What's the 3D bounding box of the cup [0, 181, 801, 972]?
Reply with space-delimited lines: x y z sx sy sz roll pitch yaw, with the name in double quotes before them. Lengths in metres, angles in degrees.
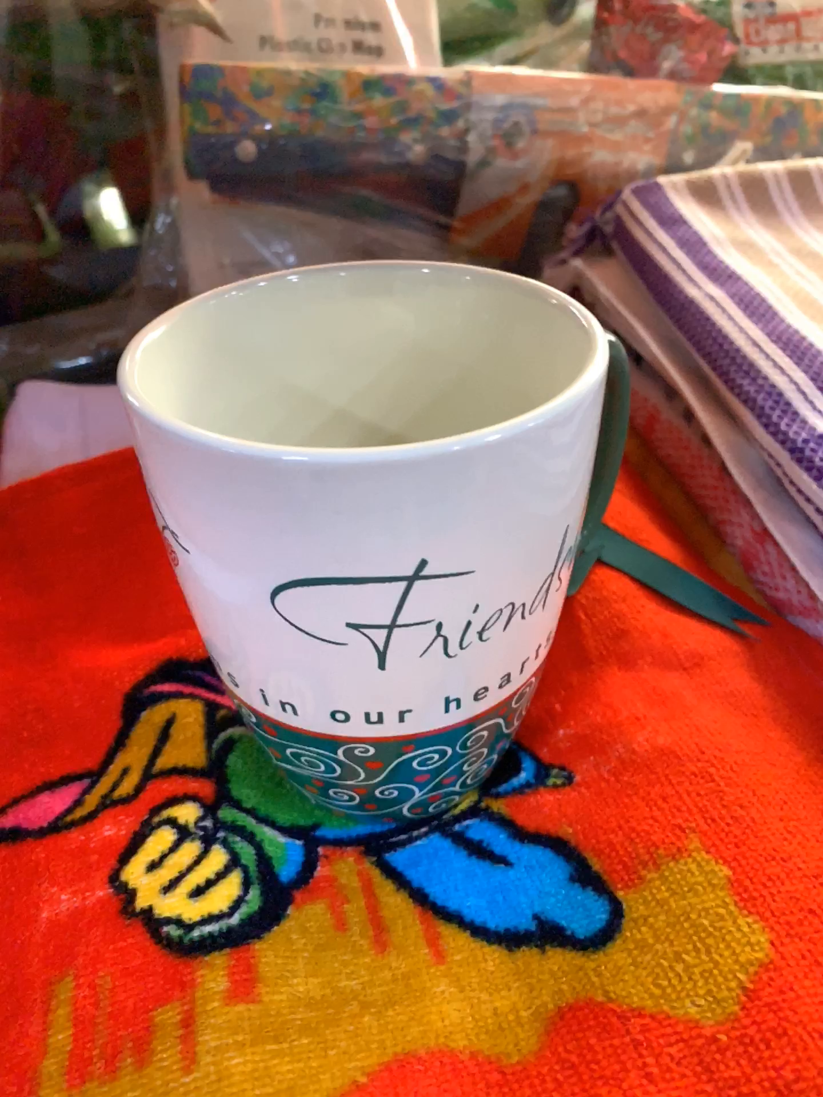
"cup" -0.003 -0.010 0.196 0.133 0.094 0.100 -32 47 -33
